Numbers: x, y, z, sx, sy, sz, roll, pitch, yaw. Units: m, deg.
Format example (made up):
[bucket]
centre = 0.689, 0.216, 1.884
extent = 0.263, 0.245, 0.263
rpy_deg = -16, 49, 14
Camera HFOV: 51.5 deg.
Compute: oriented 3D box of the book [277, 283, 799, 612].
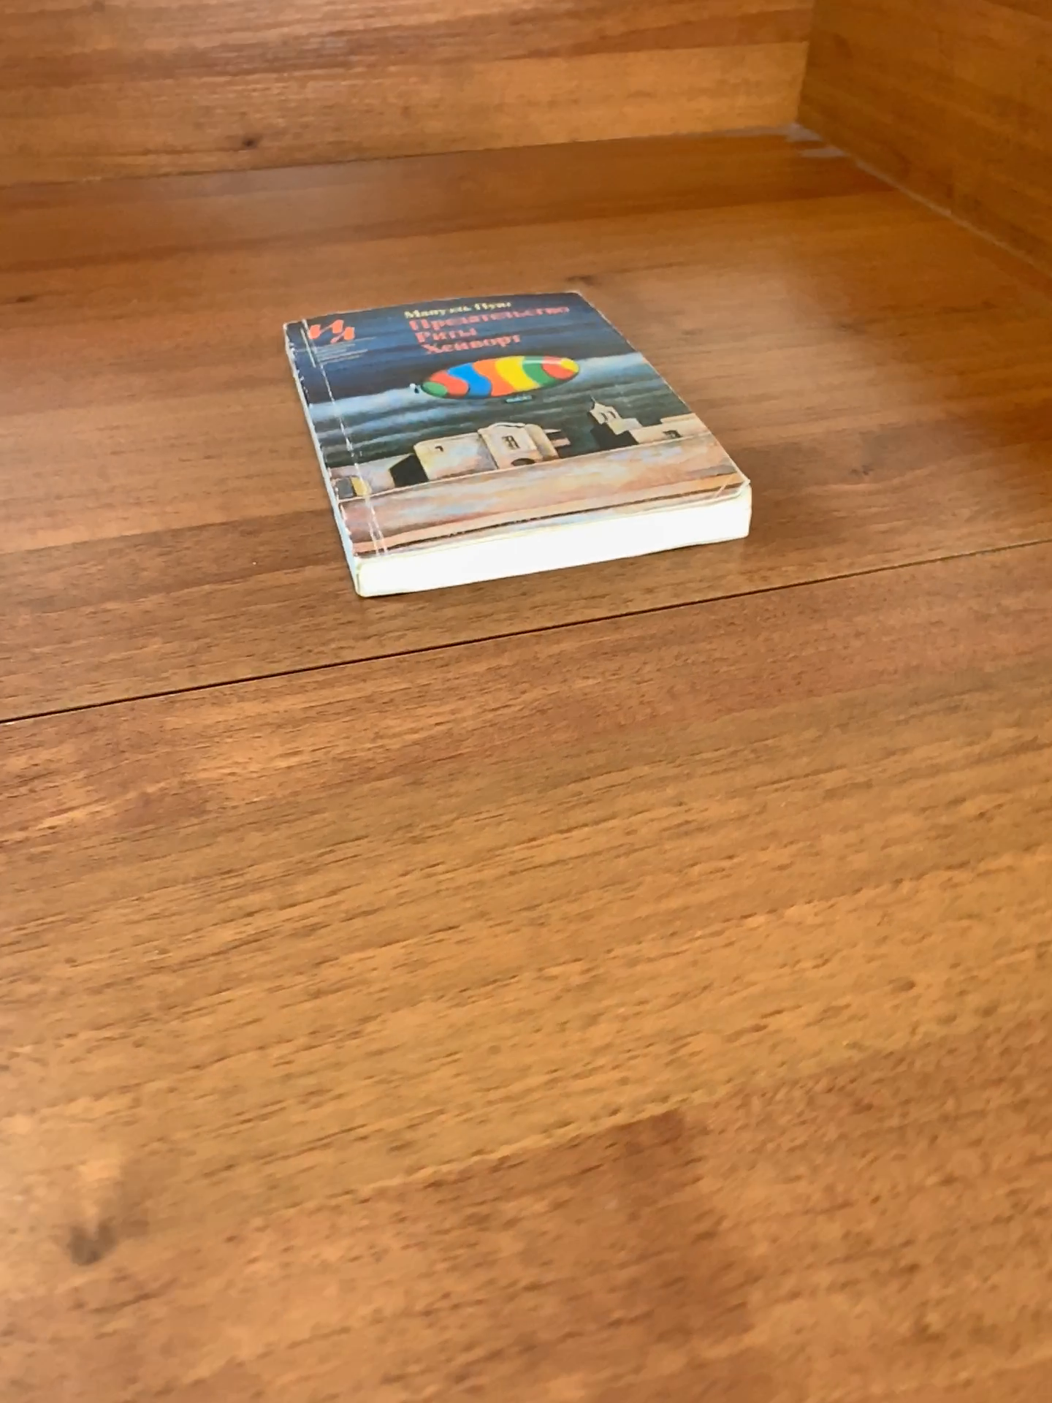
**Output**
[book]
centre = -0.007, -0.090, 0.342
extent = 0.121, 0.016, 0.158
rpy_deg = -10, 42, -13
